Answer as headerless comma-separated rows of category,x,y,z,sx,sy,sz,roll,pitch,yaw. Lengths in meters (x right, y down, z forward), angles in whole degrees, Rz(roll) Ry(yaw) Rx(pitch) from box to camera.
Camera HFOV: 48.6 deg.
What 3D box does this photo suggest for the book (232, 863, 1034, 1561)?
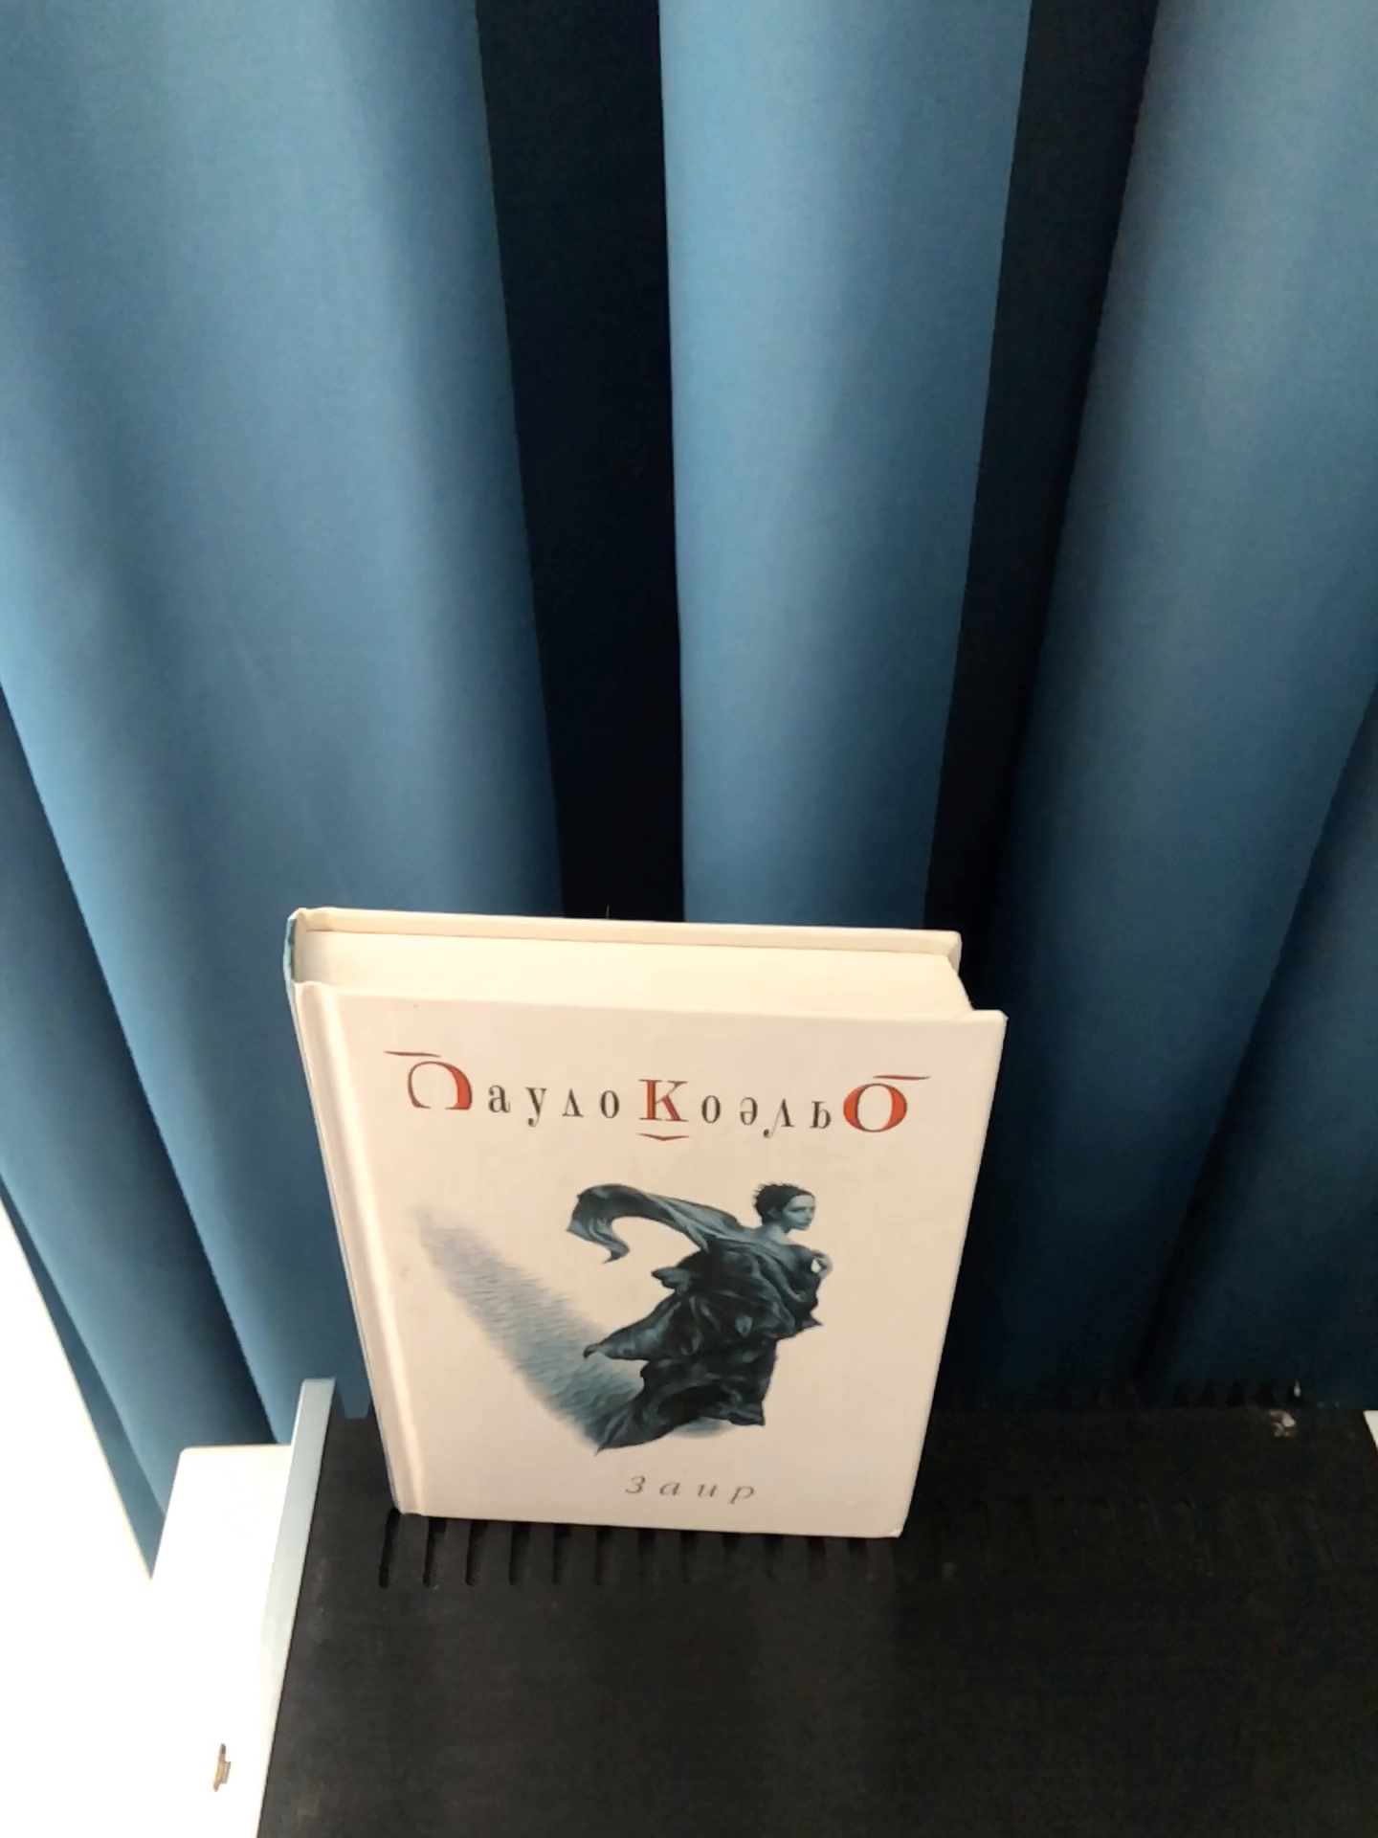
book,-0.009,0.070,0.315,0.130,0.179,0.030,2,40,3
